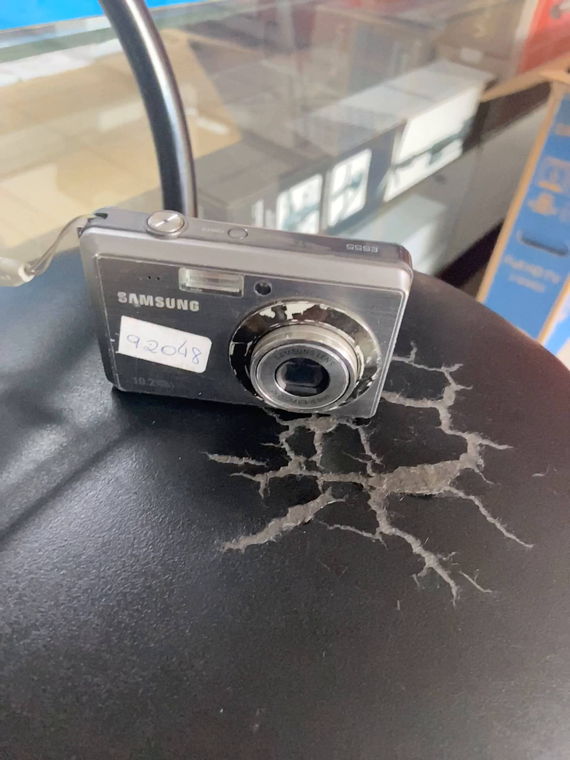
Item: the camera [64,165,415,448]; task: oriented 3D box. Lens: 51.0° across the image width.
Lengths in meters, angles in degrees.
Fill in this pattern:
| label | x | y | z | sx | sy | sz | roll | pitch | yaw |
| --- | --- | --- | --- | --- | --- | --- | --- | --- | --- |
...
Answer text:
| label | x | y | z | sx | sy | sz | roll | pitch | yaw |
| --- | --- | --- | --- | --- | --- | --- | --- | --- | --- |
| camera | -0.012 | -0.021 | 0.191 | 0.090 | 0.070 | 0.040 | 7 | 44 | 1 |
